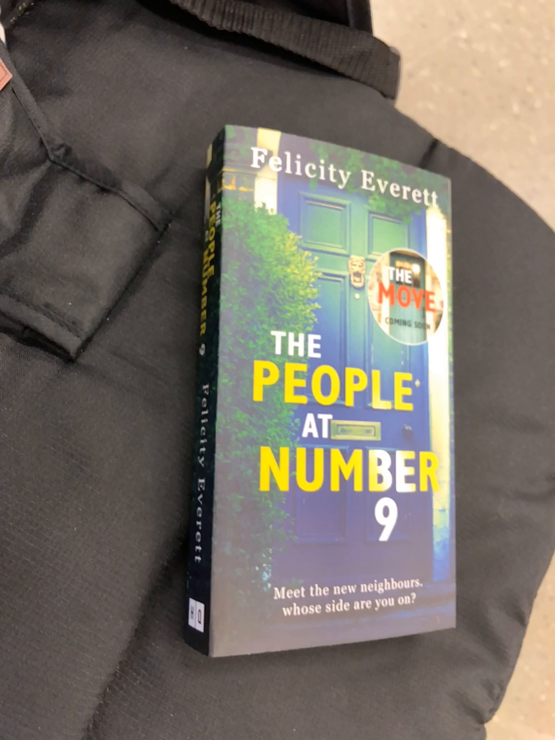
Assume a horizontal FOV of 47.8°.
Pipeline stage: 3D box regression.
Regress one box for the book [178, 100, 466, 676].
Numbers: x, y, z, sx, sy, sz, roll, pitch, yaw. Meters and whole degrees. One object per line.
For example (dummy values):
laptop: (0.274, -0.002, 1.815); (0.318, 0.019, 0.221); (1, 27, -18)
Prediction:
book: (0.023, 0.007, 0.251); (0.110, 0.030, 0.195); (5, 82, -28)
